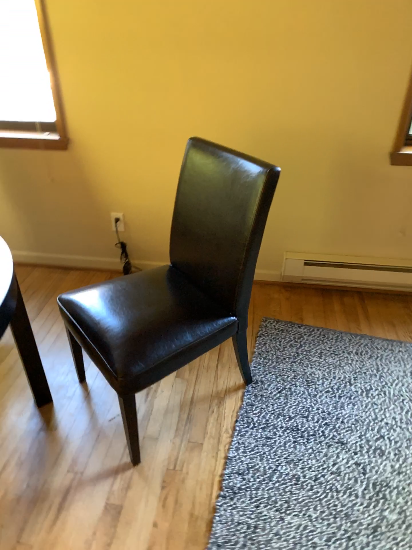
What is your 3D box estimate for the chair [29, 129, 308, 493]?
[{"bbox_3d":[-0.127,0.108,1.626,0.651,1.083,0.623,-24,40,-31],"label":"chair"}]
